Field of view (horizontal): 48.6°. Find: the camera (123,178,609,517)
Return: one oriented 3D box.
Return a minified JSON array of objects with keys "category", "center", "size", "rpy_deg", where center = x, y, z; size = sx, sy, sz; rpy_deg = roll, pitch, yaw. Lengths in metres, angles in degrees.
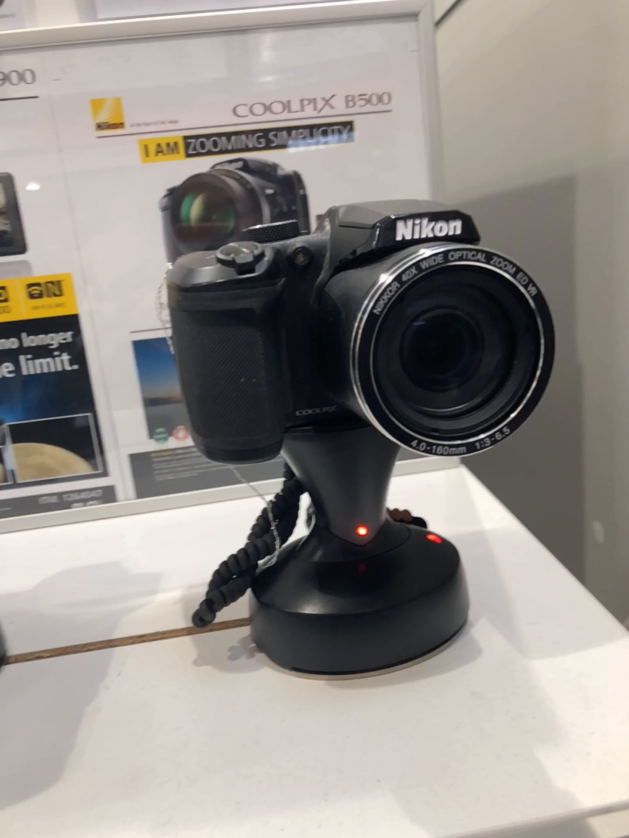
[{"category":"camera","center":[0.010,-0.030,0.223],"size":[0.120,0.070,0.100],"rpy_deg":[-9,15,-8]}]
